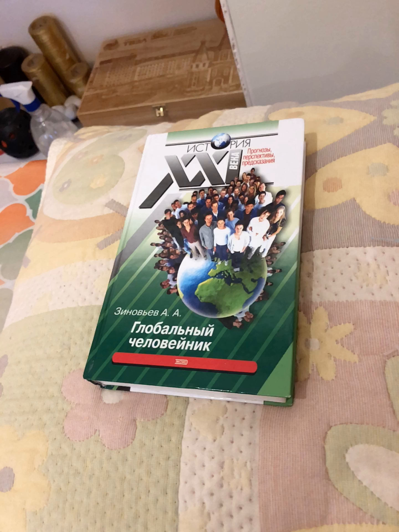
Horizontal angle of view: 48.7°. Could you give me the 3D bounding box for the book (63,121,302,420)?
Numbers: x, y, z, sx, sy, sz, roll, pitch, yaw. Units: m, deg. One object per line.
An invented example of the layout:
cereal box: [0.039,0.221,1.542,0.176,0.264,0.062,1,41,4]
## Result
book: [-0.001,-0.008,0.315,0.133,0.036,0.207,0,61,19]
